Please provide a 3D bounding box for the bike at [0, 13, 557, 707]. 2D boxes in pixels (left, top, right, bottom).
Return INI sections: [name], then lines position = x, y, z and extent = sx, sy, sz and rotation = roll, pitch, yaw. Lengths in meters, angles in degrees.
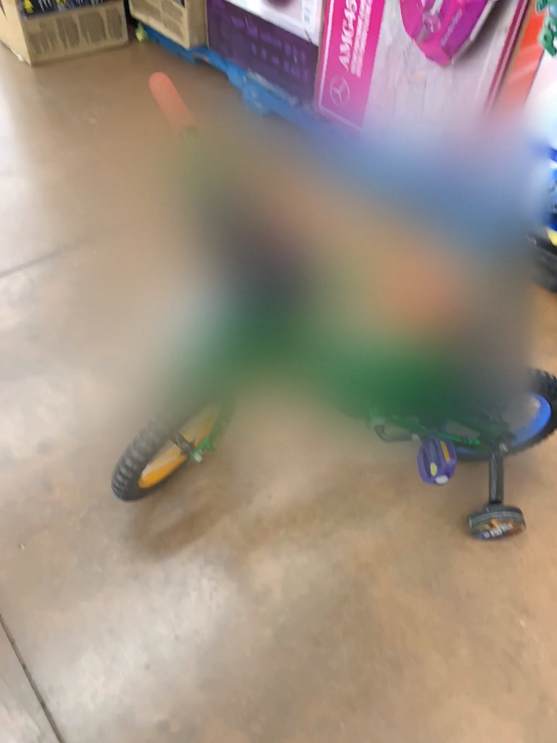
[bike]
position = 0.177, 0.013, 0.825
extent = 0.850, 0.733, 0.490
rotation = -7, 50, -14
